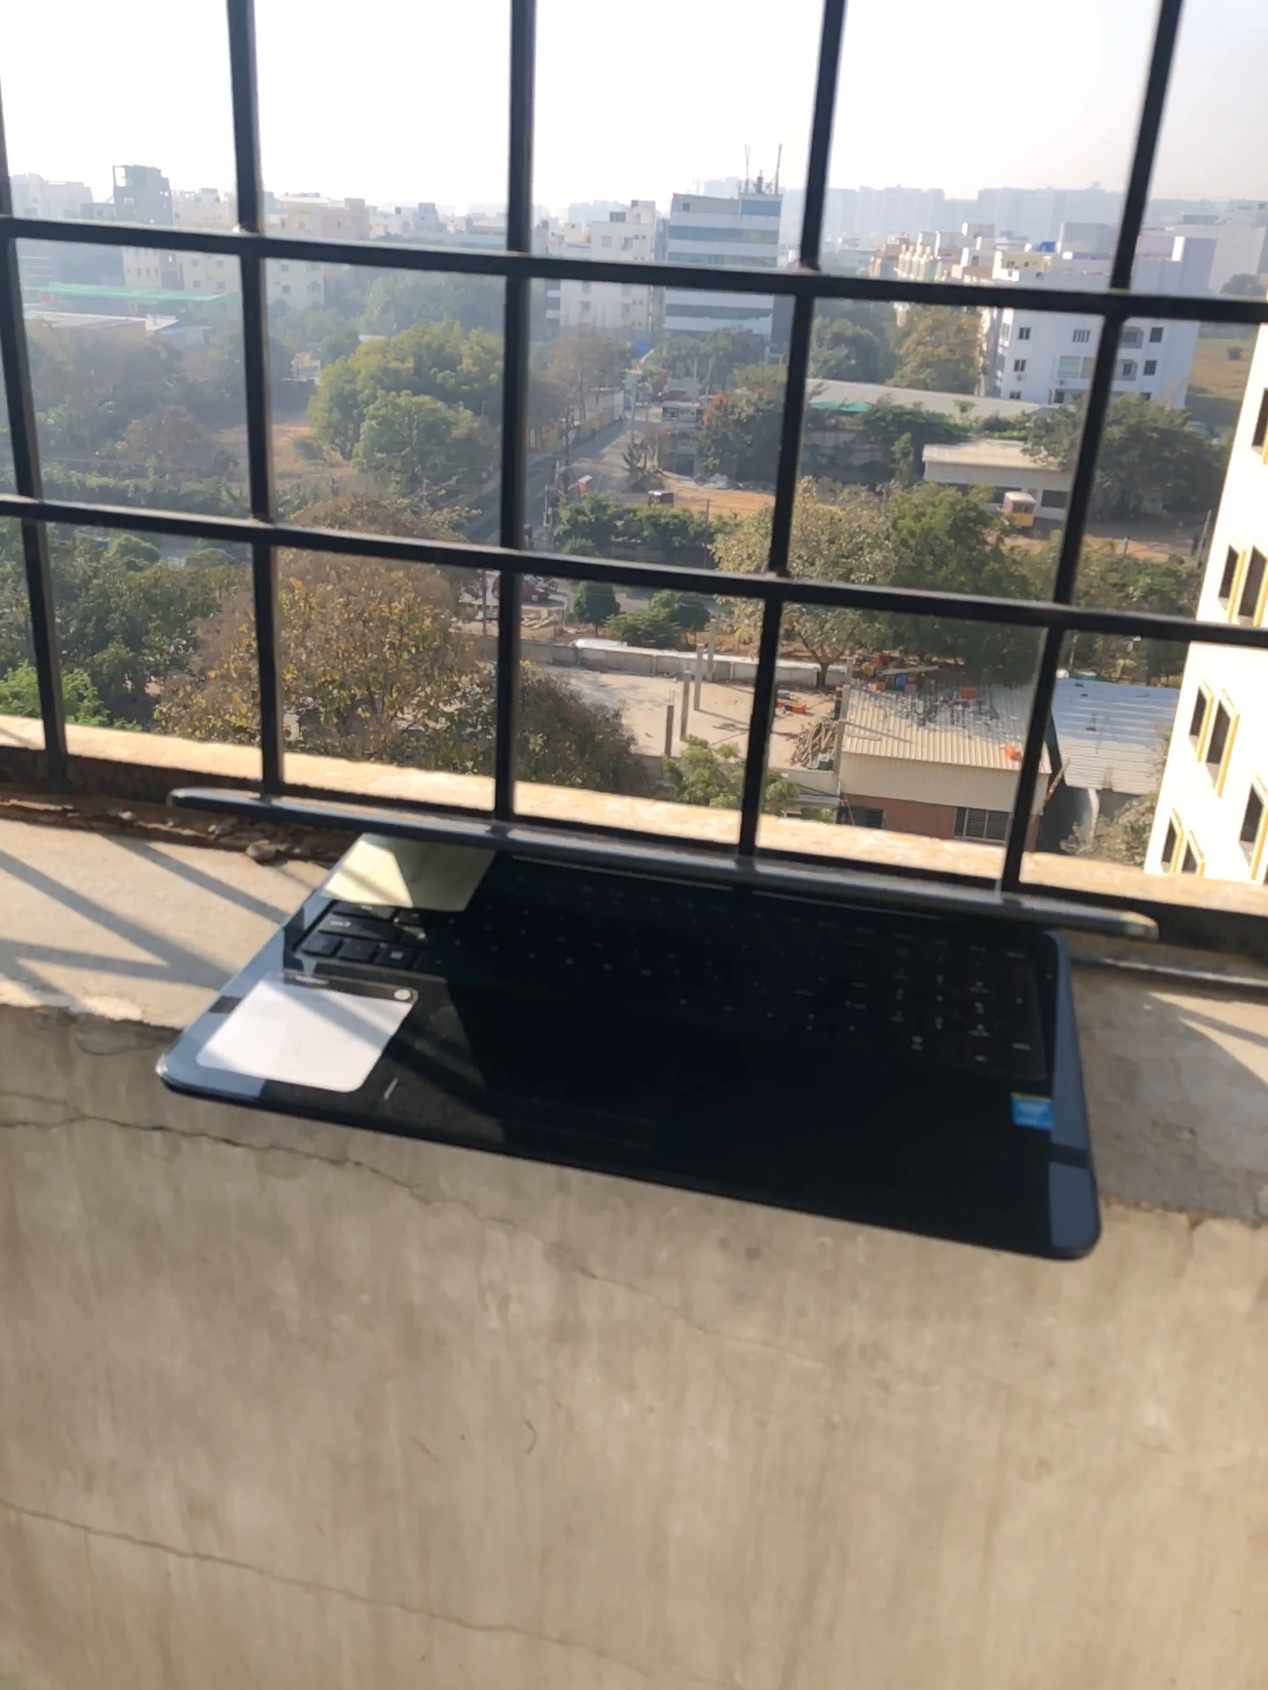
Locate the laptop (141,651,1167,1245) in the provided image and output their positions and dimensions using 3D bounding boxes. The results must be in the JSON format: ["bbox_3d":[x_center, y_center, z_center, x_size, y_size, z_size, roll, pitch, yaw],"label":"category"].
[{"bbox_3d":[0.016,0.020,0.611,0.363,0.113,0.245,8,23,10],"label":"laptop"}]
